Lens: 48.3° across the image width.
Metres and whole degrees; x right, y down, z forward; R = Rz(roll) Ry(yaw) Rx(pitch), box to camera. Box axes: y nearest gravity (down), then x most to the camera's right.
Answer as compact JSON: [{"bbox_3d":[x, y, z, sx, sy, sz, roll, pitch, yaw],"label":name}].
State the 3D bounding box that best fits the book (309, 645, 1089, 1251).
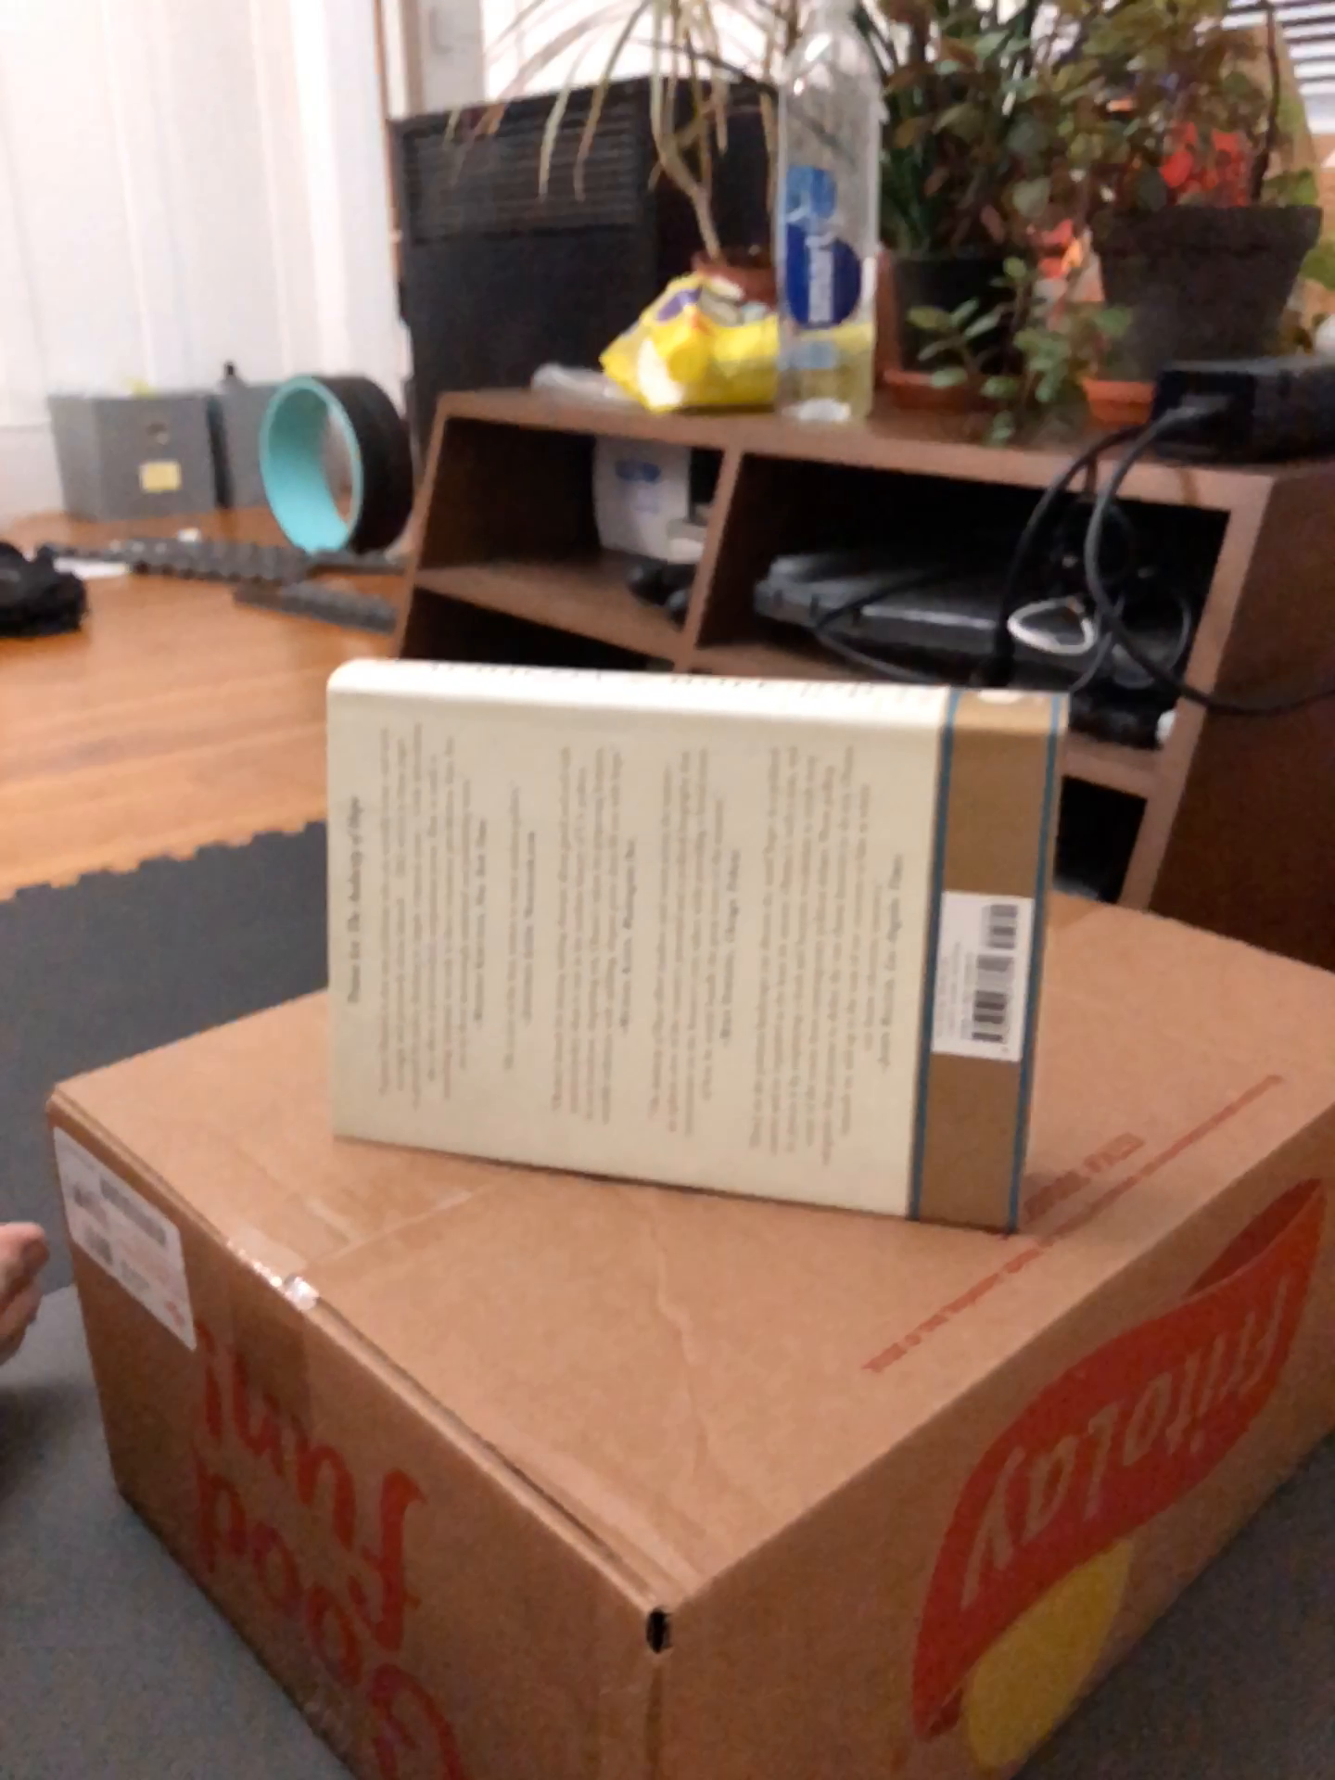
[{"bbox_3d":[0.006,0.011,0.510,0.250,0.170,0.060,6,12,14],"label":"book"}]
